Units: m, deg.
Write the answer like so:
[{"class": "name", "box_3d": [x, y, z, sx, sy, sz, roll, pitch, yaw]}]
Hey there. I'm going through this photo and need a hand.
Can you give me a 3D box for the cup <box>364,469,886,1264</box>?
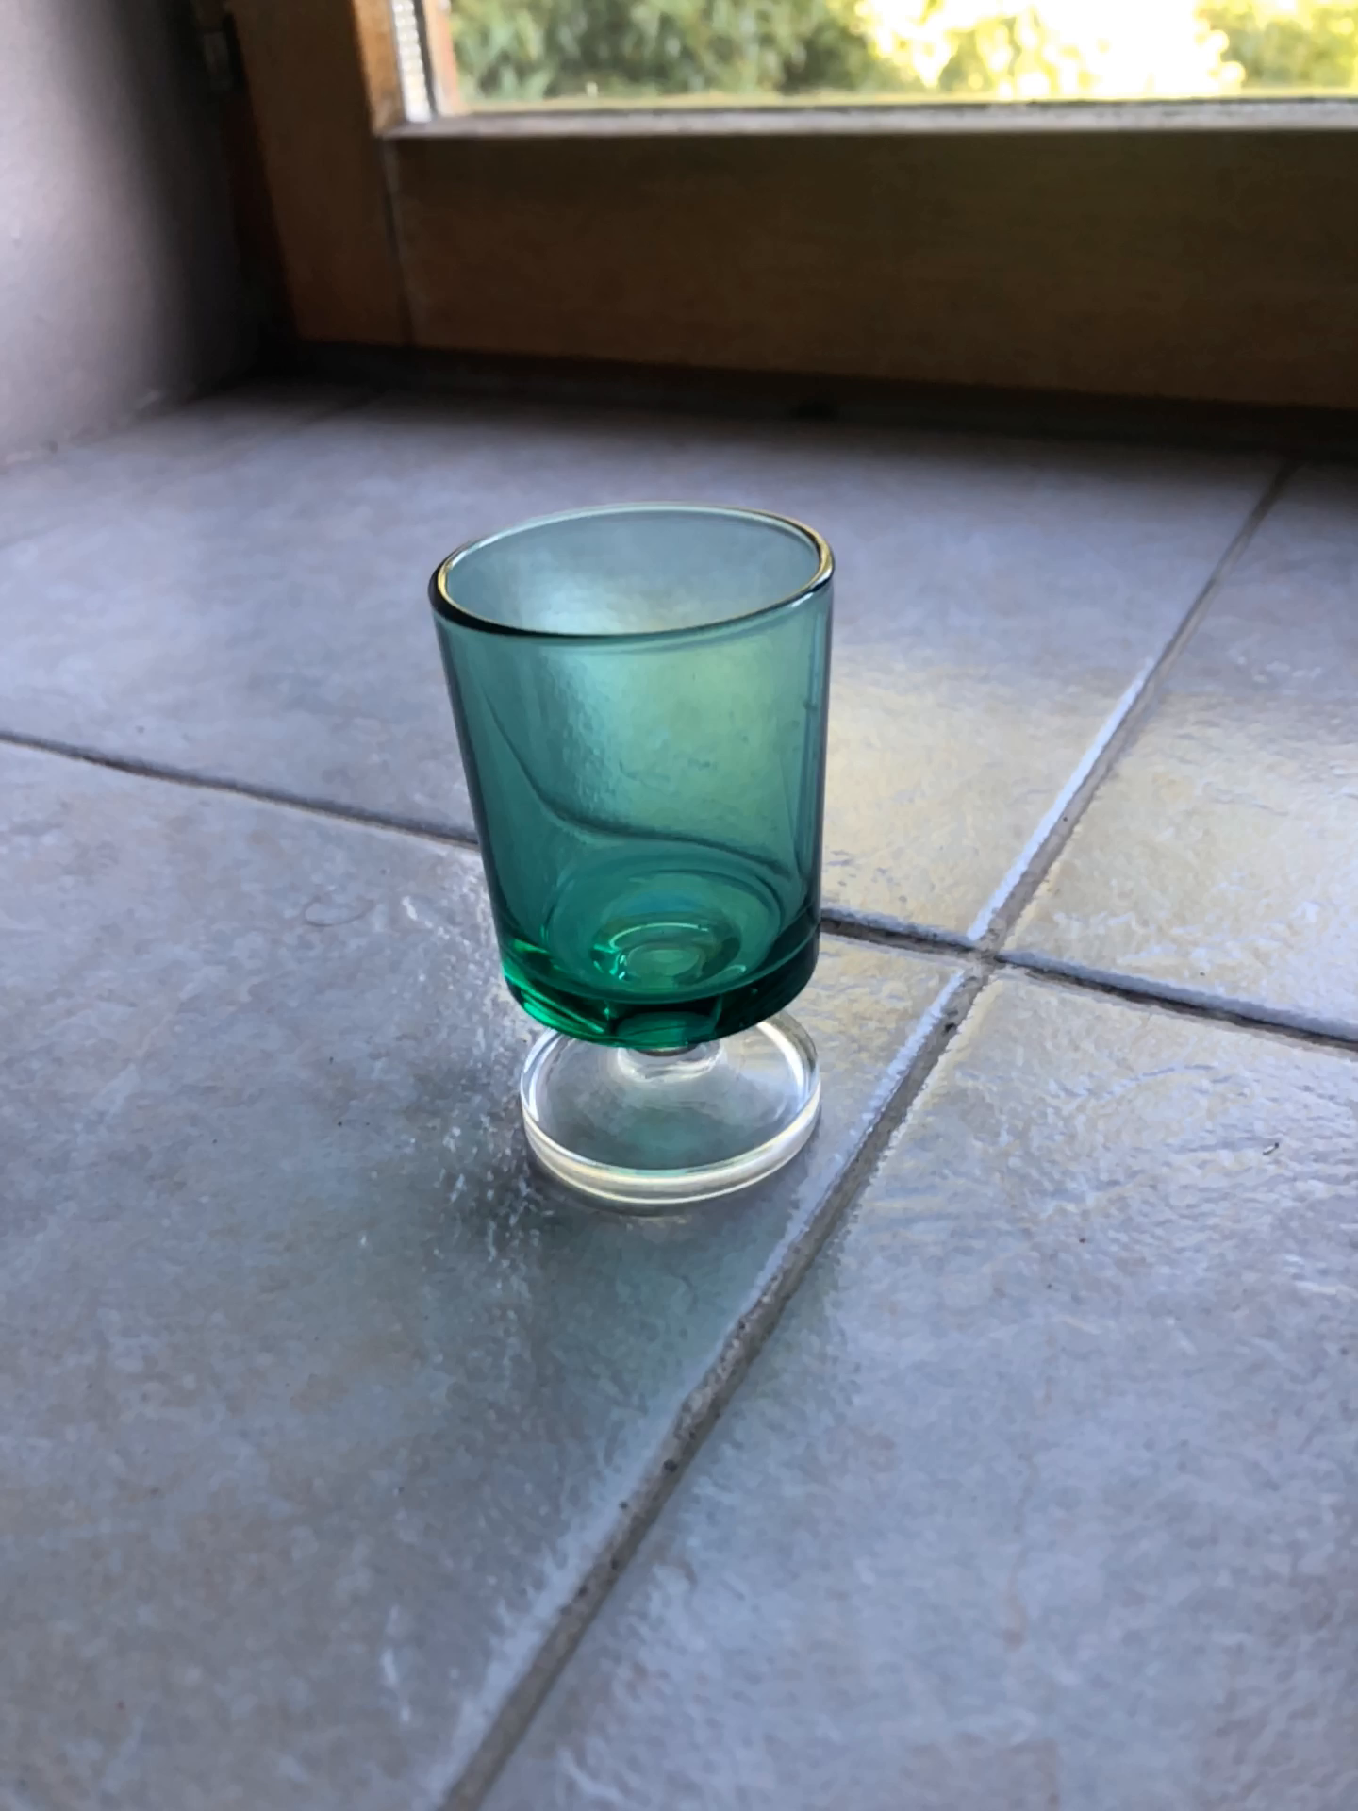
[{"class": "cup", "box_3d": [-0.005, -0.005, 0.166, 0.045, 0.068, 0.044, -3, 33, 2]}]
